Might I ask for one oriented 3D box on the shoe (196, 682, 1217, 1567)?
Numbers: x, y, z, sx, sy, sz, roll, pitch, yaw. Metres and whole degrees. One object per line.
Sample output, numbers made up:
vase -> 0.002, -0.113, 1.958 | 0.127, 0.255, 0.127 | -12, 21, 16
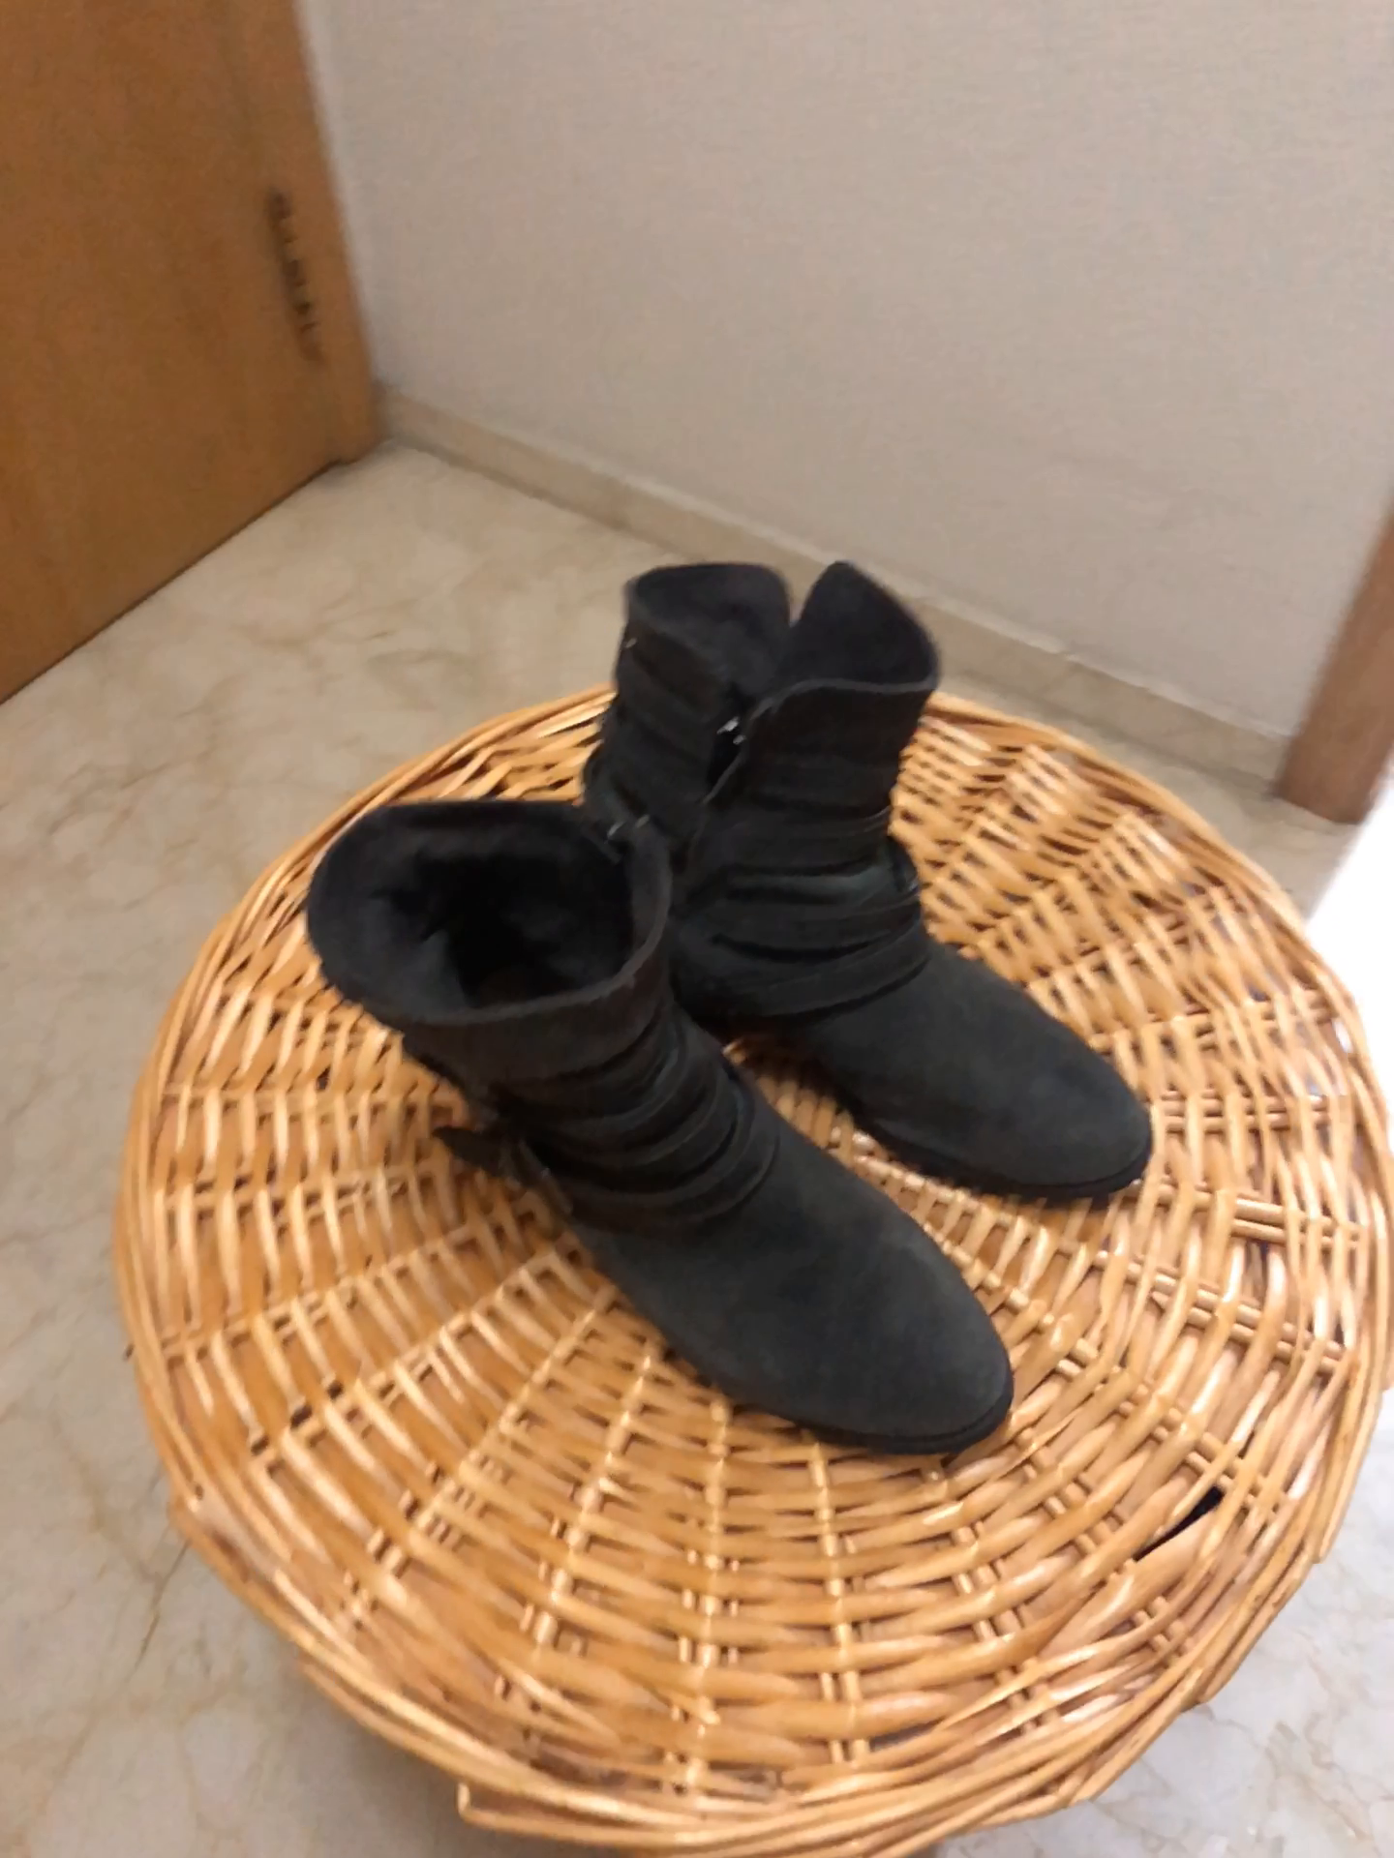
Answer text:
shoe -> 0.002, 0.063, 0.489 | 0.260, 0.169, 0.110 | 27, 63, 21

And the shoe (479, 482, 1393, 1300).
shoe -> 0.069, -0.016, 0.542 | 0.260, 0.169, 0.110 | 27, 56, 21
